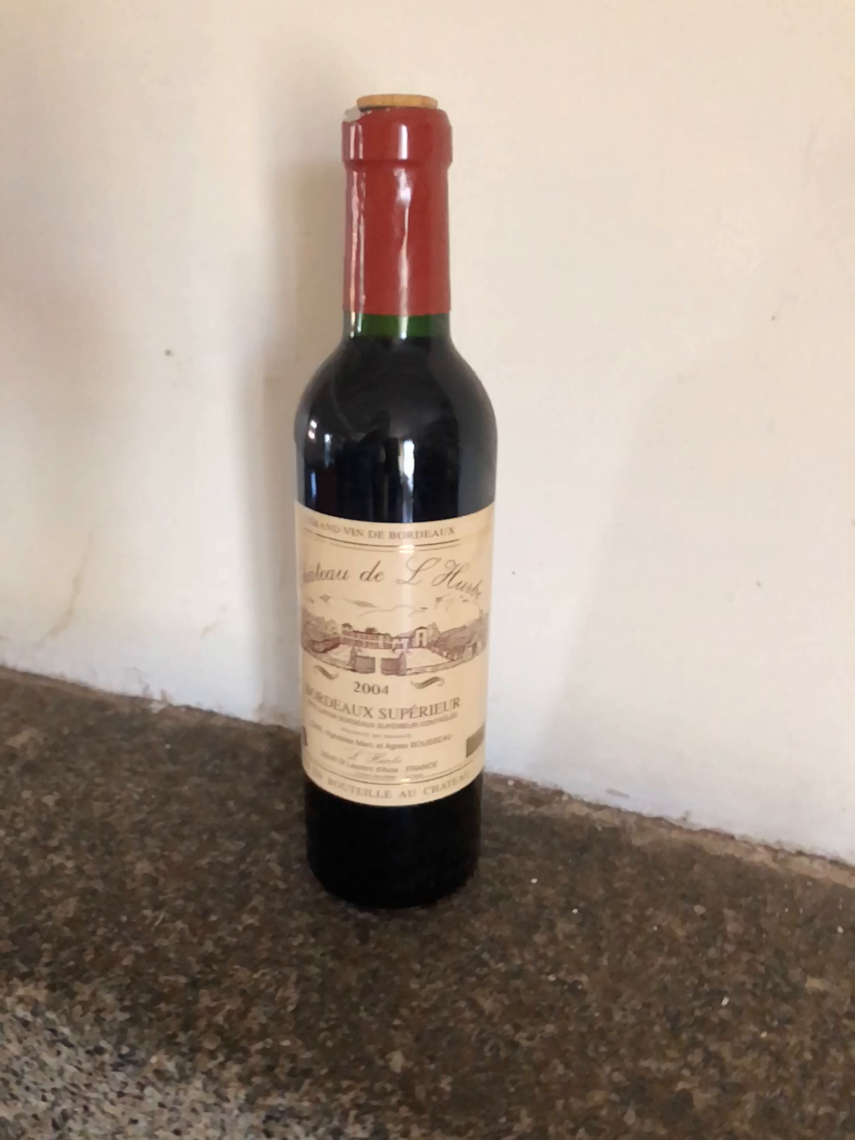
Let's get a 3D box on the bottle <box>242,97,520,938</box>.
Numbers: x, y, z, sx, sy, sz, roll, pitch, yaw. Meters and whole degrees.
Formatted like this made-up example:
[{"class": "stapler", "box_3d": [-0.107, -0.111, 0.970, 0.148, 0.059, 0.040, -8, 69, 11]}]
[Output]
[{"class": "bottle", "box_3d": [-0.009, -0.009, 0.283, 0.060, 0.229, 0.060, 0, 19, 0]}]
